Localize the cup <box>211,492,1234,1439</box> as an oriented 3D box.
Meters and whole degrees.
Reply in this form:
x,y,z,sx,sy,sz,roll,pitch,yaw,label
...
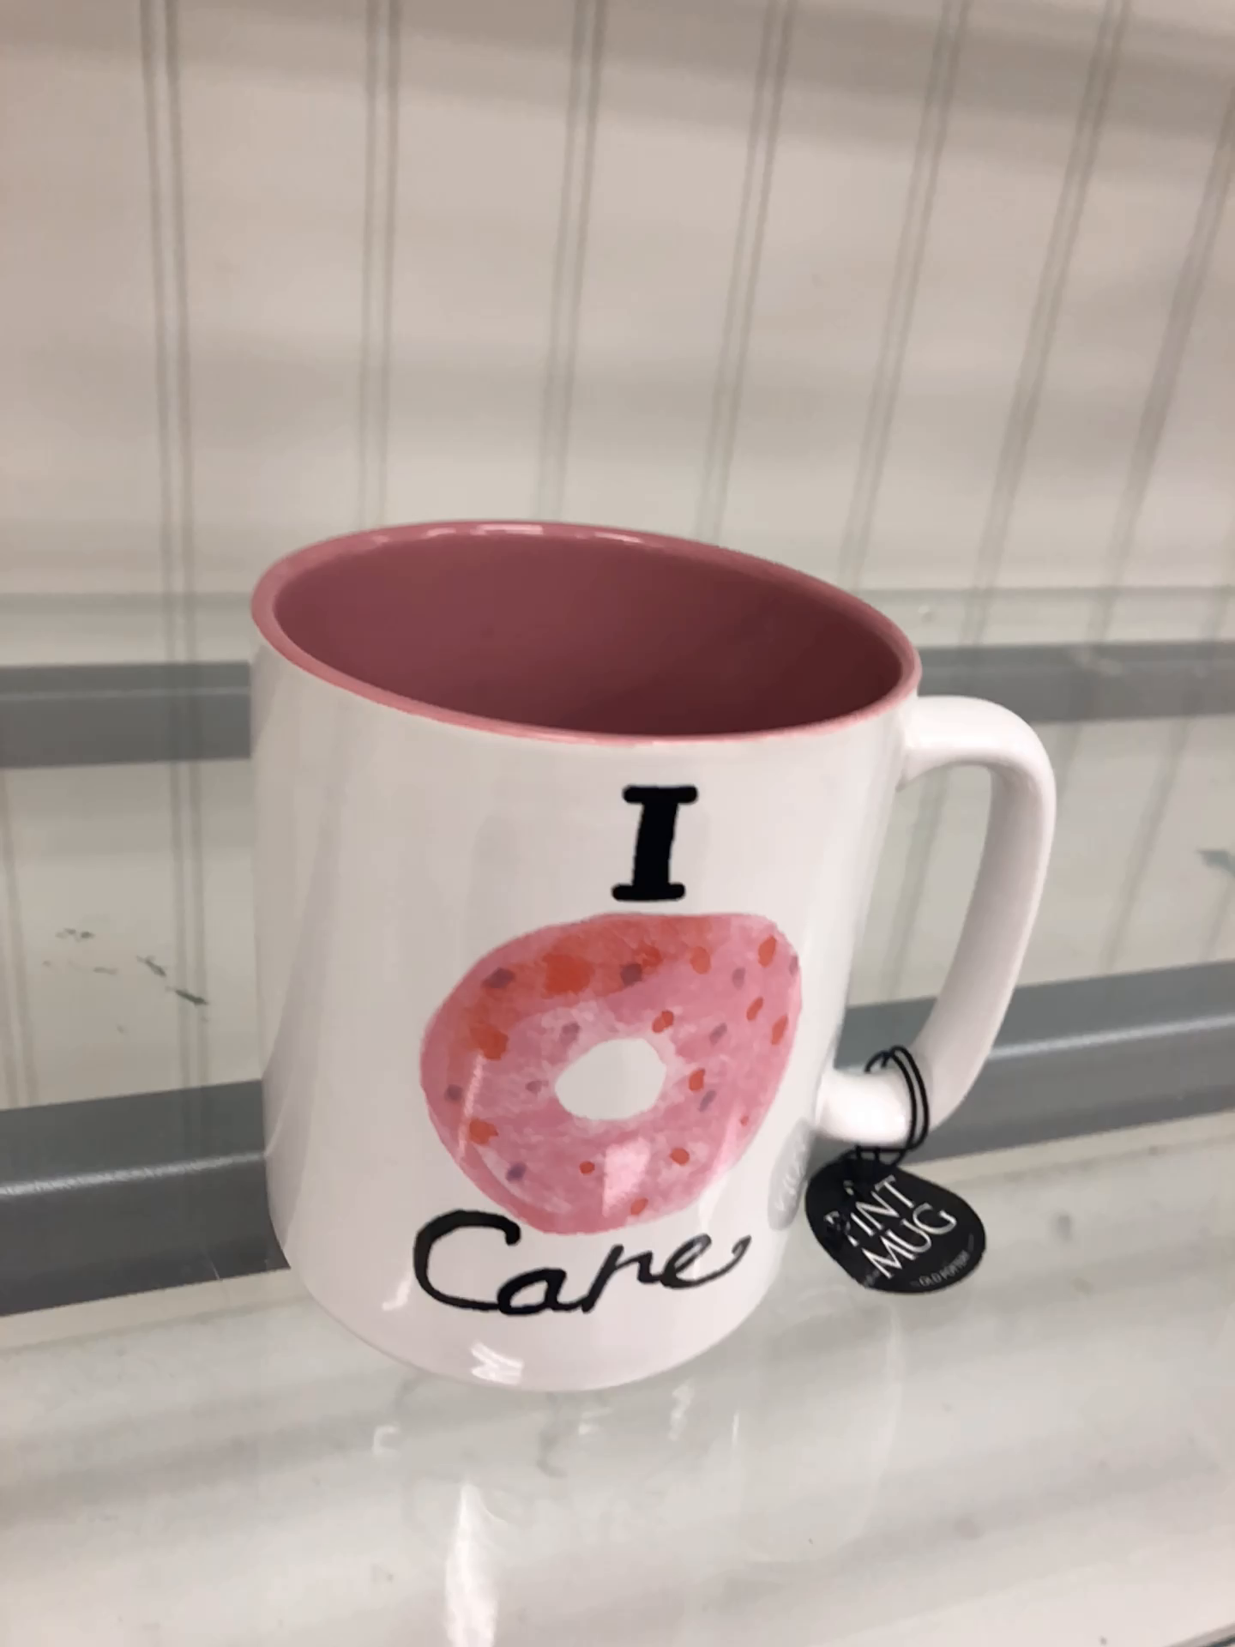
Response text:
x,y,z,sx,sy,sz,roll,pitch,yaw,label
0.008,0.017,0.234,0.137,0.112,0.101,1,27,-12,cup
